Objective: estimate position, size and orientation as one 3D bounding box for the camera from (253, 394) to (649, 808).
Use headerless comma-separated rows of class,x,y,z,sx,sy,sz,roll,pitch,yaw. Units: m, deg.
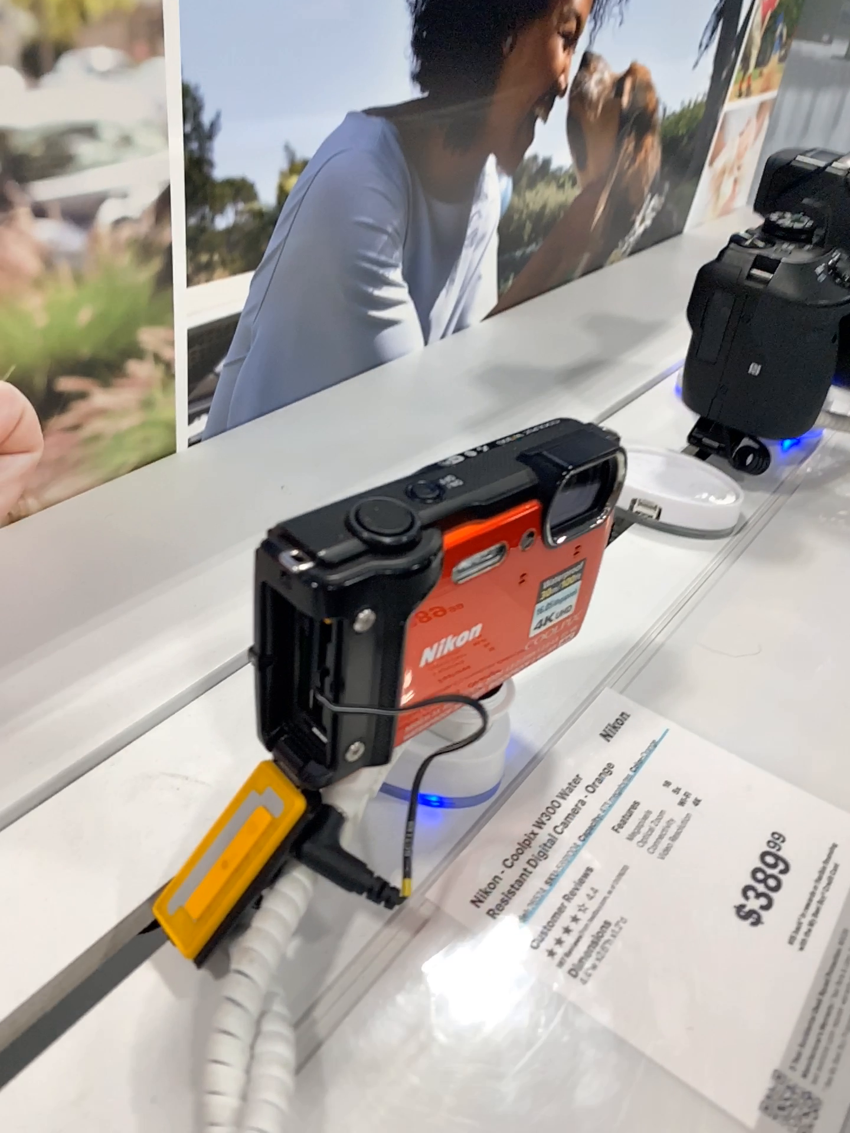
camera,0.009,0.003,0.214,0.025,0.062,0.105,33,42,32
